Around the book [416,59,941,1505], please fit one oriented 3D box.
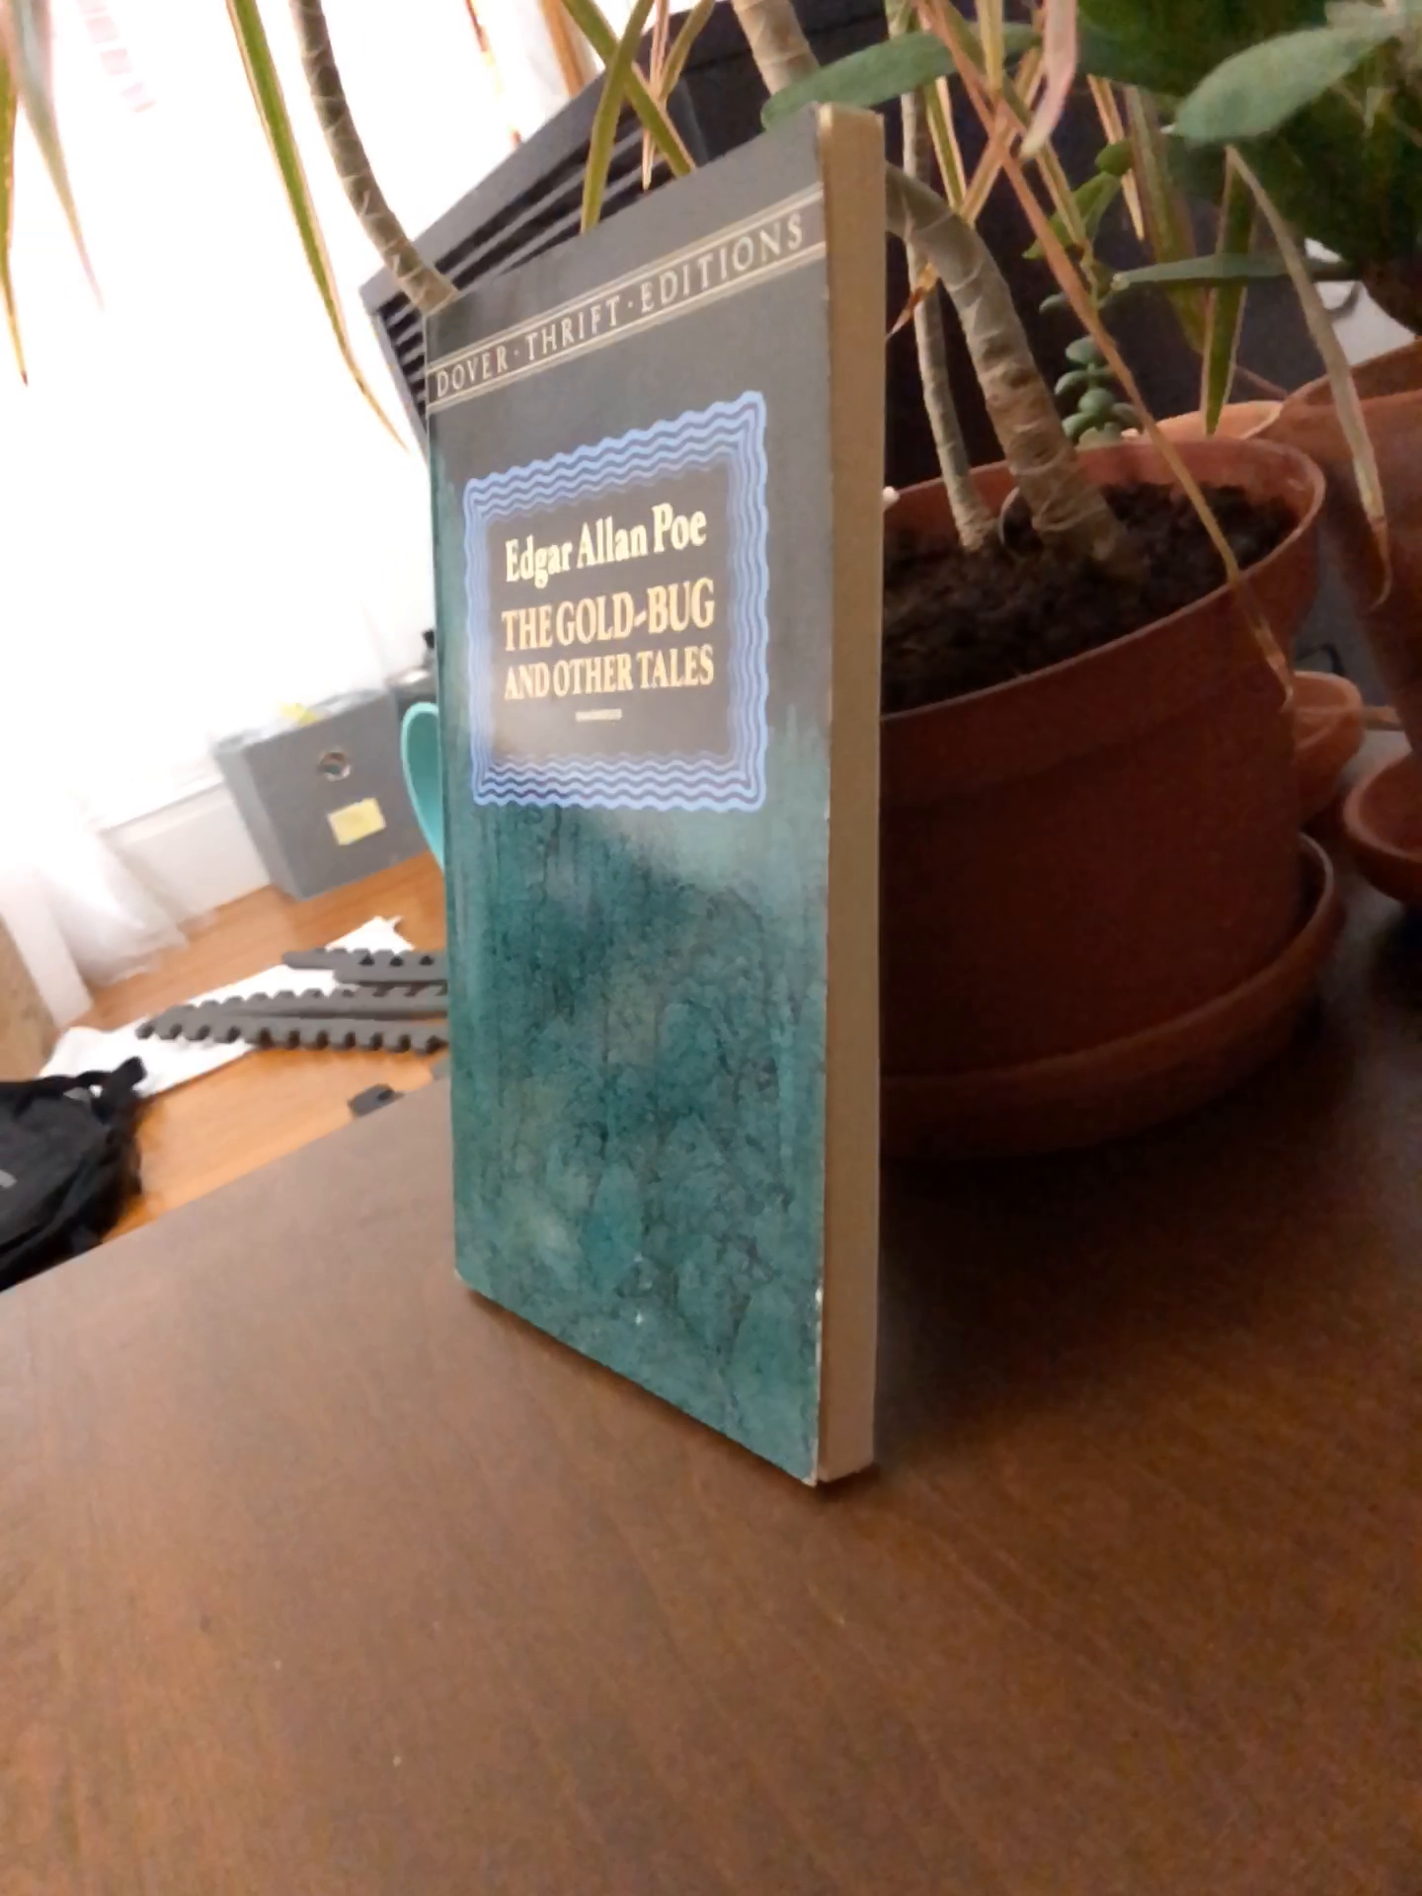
[{"bbox_3d":[-0.015,-0.027,0.291,0.020,0.210,0.140,-3,6,-35],"label":"book"}]
